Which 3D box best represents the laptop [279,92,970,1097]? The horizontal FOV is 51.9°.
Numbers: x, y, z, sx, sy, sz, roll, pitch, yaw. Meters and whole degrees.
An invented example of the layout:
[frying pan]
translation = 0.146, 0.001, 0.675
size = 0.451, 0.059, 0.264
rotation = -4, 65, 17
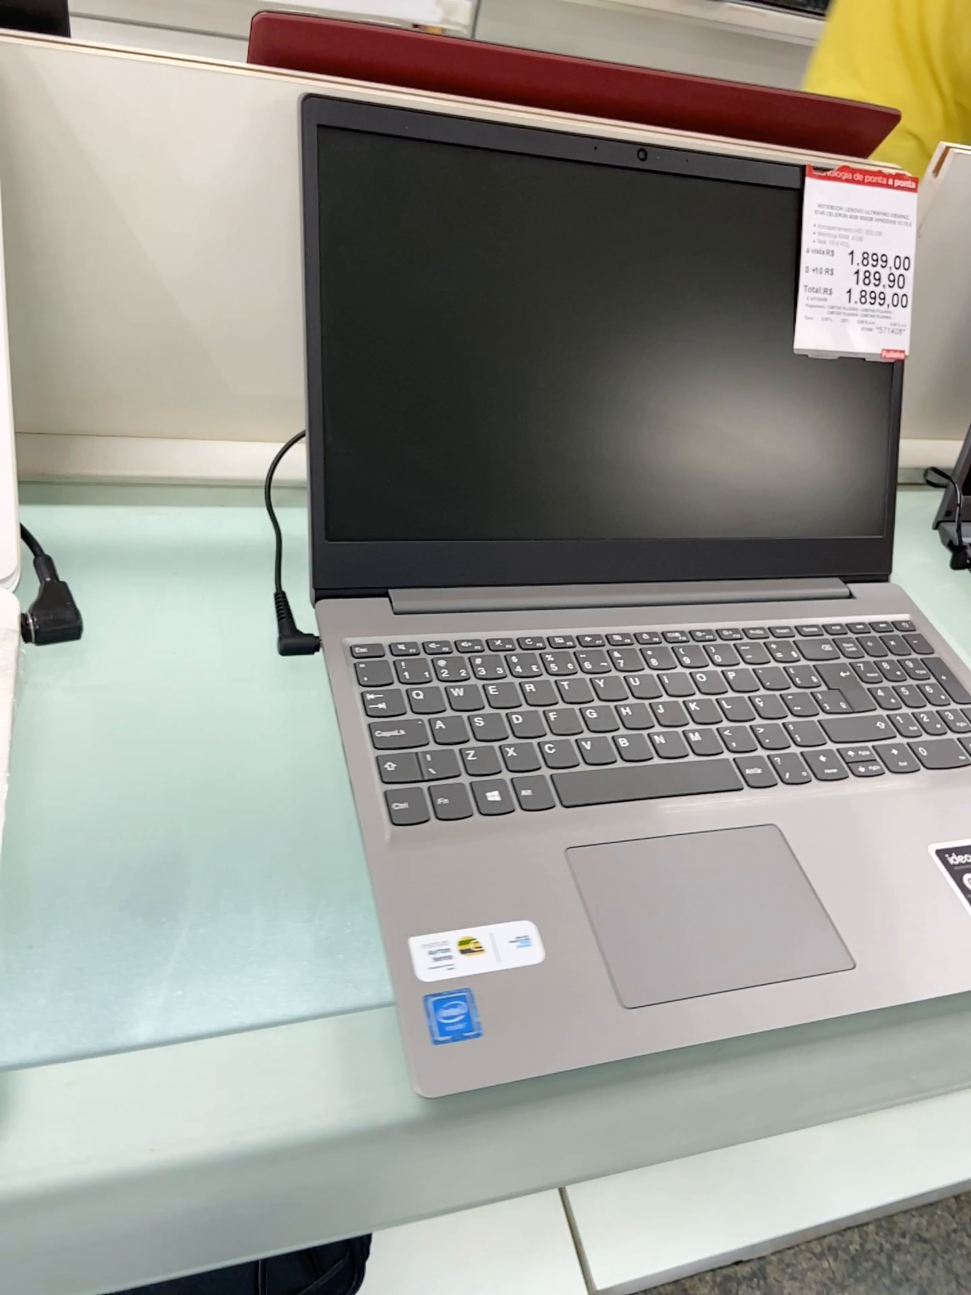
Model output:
[laptop]
translation = 0.118, -0.066, 0.468
size = 0.367, 0.189, 0.403
rotation = -3, 45, -19
